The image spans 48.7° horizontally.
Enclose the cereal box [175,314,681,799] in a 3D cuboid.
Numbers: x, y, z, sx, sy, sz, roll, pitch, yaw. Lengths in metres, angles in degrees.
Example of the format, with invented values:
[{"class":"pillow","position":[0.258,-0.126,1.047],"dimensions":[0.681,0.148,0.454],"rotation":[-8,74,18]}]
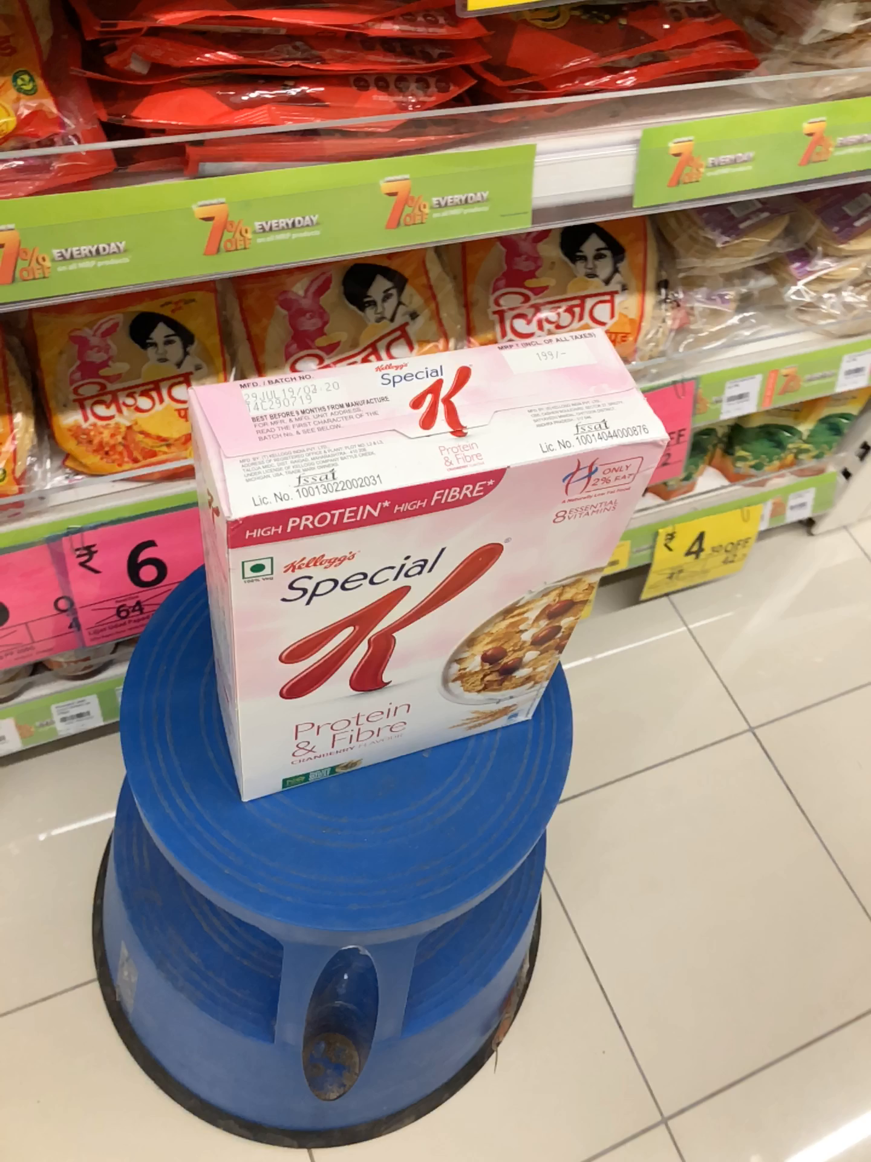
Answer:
[{"class":"cereal box","position":[-0.016,0.003,0.466],"dimensions":[0.180,0.249,0.070],"rotation":[-13,59,-17]}]
